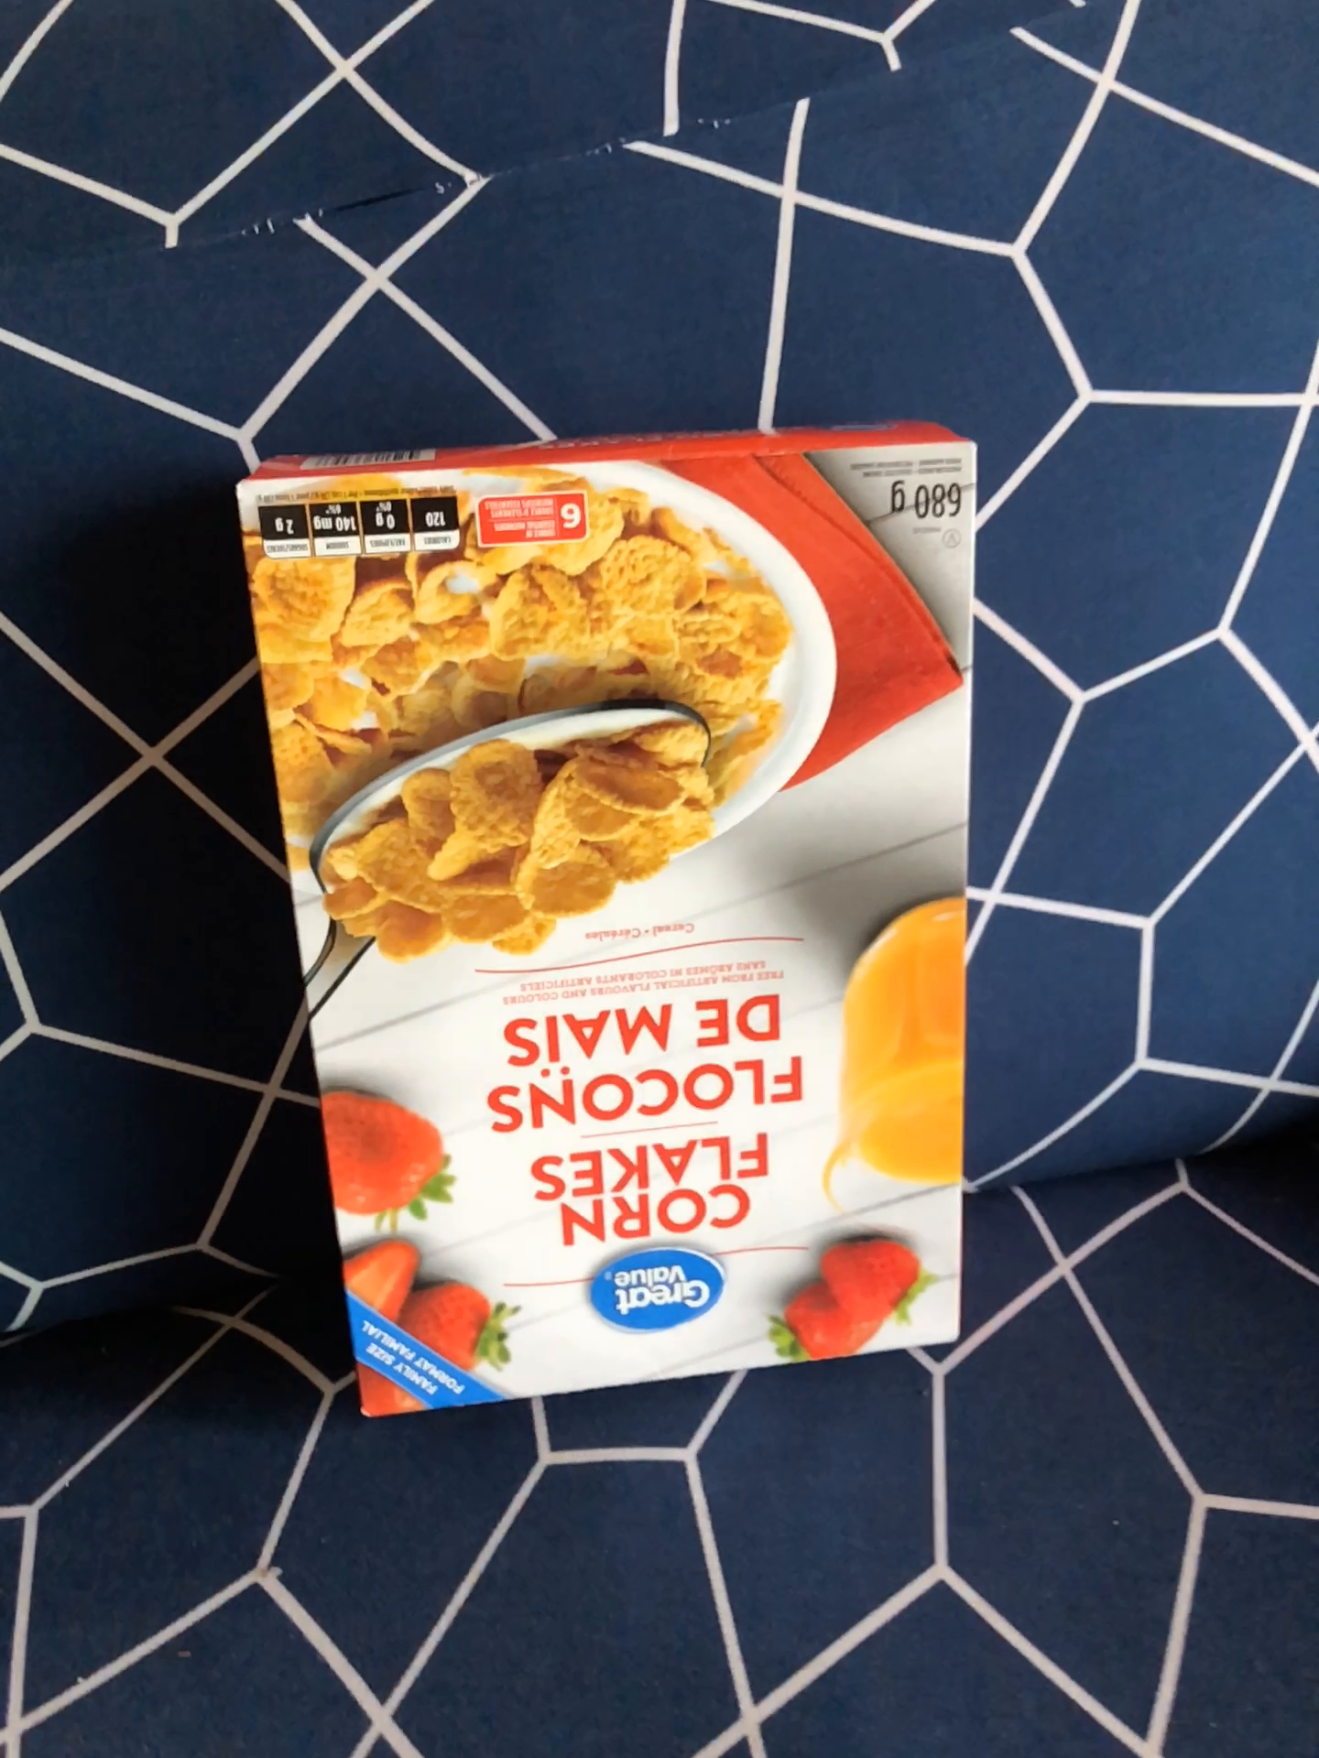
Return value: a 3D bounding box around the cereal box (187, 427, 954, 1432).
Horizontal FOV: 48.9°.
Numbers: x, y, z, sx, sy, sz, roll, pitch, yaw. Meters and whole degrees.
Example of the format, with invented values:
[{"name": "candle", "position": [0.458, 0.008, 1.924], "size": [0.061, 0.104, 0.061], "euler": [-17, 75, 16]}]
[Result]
[{"name": "cereal box", "position": [-0.019, 0.014, 0.512], "size": [0.220, 0.319, 0.100], "euler": [-5, 17, -5]}]
